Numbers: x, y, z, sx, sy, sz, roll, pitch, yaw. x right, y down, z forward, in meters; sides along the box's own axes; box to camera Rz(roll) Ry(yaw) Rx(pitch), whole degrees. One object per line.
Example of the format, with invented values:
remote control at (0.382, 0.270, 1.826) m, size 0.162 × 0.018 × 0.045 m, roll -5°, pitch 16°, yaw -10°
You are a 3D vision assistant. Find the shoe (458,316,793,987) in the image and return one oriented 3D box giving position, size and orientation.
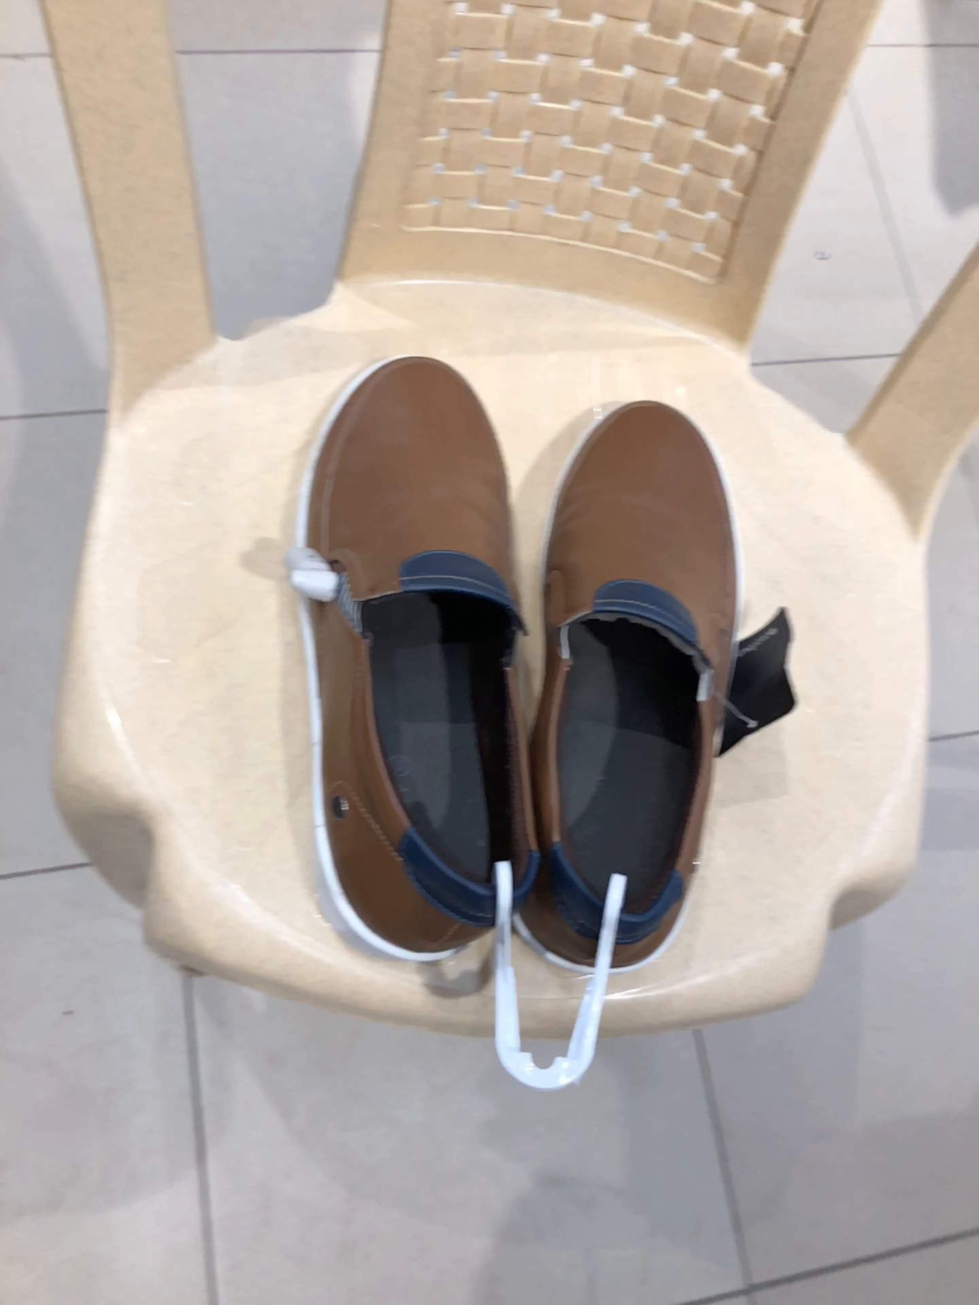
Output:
shoe at (0.062, -0.003, 0.485) m, size 0.104 × 0.099 × 0.271 m, roll 10°, pitch 68°, yaw 2°

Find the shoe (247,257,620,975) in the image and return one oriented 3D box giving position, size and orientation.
shoe at (-0.026, -0.010, 0.456) m, size 0.105 × 0.099 × 0.271 m, roll 12°, pitch 65°, yaw -31°
